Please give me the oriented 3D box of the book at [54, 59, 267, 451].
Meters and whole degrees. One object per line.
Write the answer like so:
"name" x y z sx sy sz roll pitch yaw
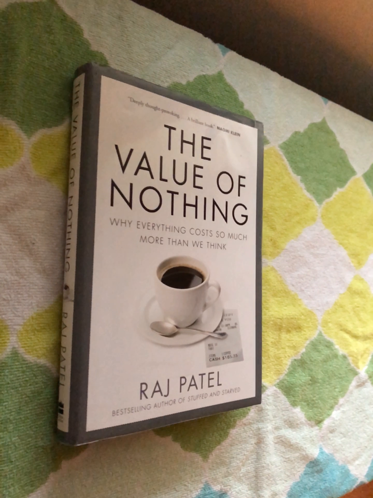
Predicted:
"book" -0.007 0.005 0.270 0.141 0.030 0.206 5 84 -36
